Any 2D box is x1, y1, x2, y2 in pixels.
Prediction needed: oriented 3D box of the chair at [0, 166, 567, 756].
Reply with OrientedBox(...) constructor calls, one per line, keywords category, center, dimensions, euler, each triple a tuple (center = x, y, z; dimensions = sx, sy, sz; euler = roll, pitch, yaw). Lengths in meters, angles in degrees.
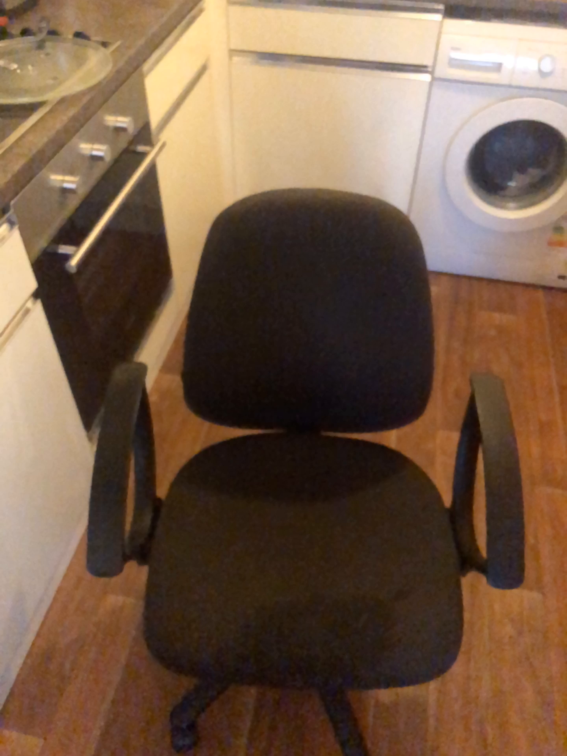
OrientedBox(category="chair", center=(0.036, 0.190, 1.163), dimensions=(0.685, 0.756, 0.879), euler=(3, 46, 2))
